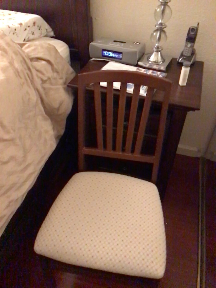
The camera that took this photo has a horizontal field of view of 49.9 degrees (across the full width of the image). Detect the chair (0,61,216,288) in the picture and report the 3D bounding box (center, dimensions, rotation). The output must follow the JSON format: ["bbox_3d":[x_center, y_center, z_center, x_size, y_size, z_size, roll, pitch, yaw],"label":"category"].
[{"bbox_3d":[0.040,0.286,1.060,0.620,1.032,0.695,6,42,5],"label":"chair"}]
